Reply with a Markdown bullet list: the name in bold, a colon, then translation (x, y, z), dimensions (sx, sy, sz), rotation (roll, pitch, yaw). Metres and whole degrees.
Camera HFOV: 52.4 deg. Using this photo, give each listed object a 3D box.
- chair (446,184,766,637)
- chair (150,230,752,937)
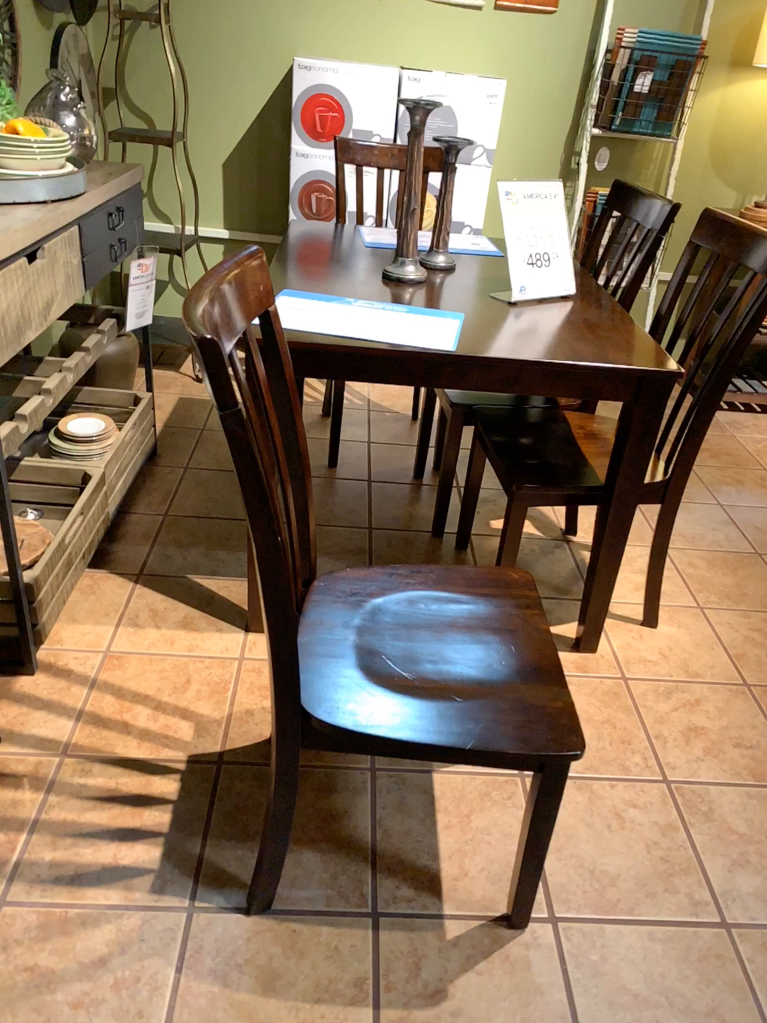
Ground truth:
- **chair**: translation (0.541, -0.221, 1.875), dimensions (0.574, 0.946, 0.463), rotation (1, 31, -10)
- **chair**: translation (0.021, 0.135, 1.181), dimensions (0.584, 0.936, 0.464), rotation (4, 30, -4)
